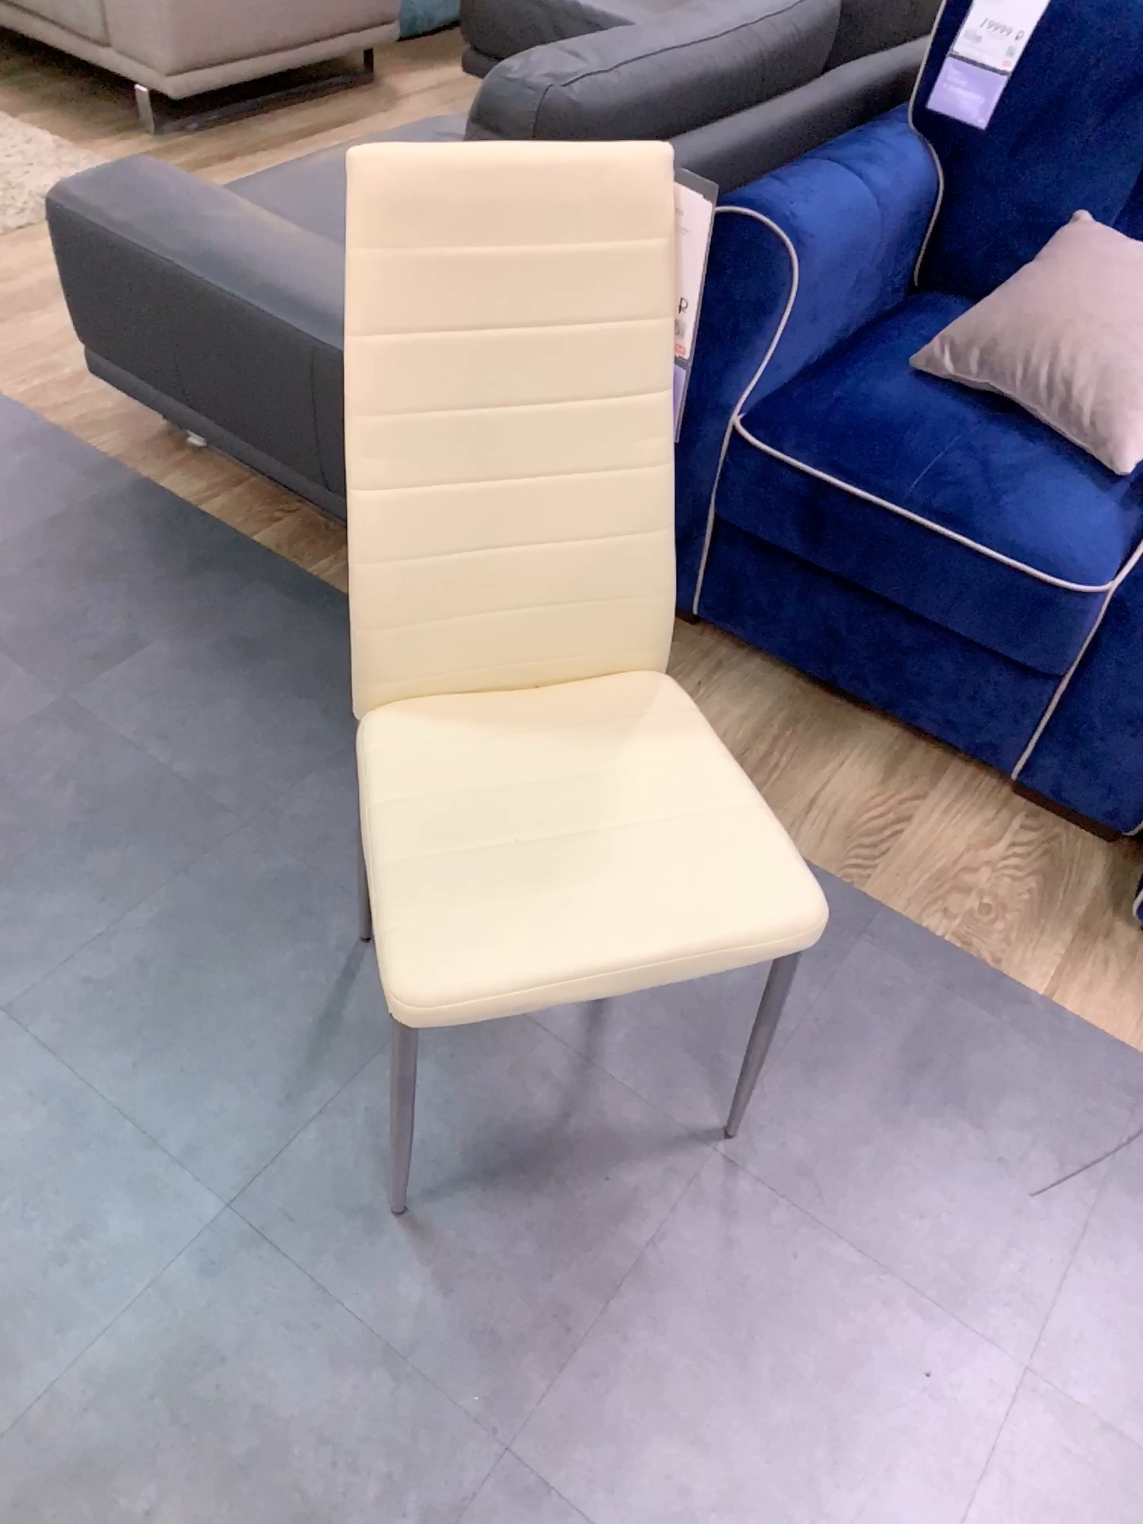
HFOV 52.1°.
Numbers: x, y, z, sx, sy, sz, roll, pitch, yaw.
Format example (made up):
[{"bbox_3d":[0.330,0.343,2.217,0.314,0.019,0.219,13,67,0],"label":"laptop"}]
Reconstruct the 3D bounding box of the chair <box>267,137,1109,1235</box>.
[{"bbox_3d":[0.001,-0.013,1.134,0.446,0.940,0.479,-8,48,-14],"label":"chair"}]
